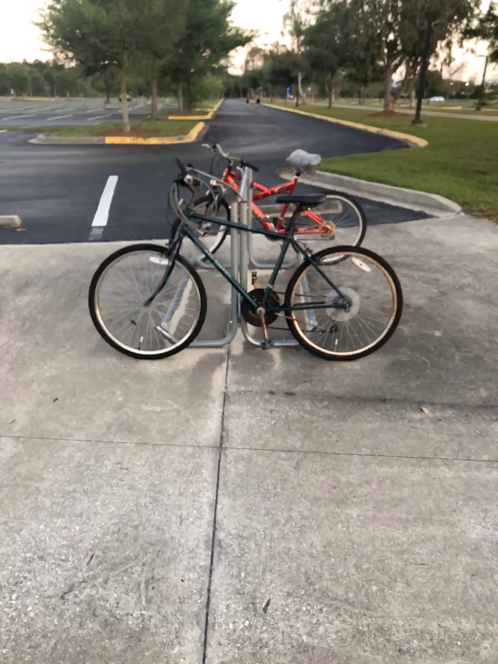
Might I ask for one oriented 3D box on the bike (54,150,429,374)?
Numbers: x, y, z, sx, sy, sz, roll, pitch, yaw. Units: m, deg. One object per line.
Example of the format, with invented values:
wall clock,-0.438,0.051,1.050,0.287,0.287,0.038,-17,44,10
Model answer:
bike,-0.015,-0.399,3.032,1.750,1.104,0.587,0,22,1
